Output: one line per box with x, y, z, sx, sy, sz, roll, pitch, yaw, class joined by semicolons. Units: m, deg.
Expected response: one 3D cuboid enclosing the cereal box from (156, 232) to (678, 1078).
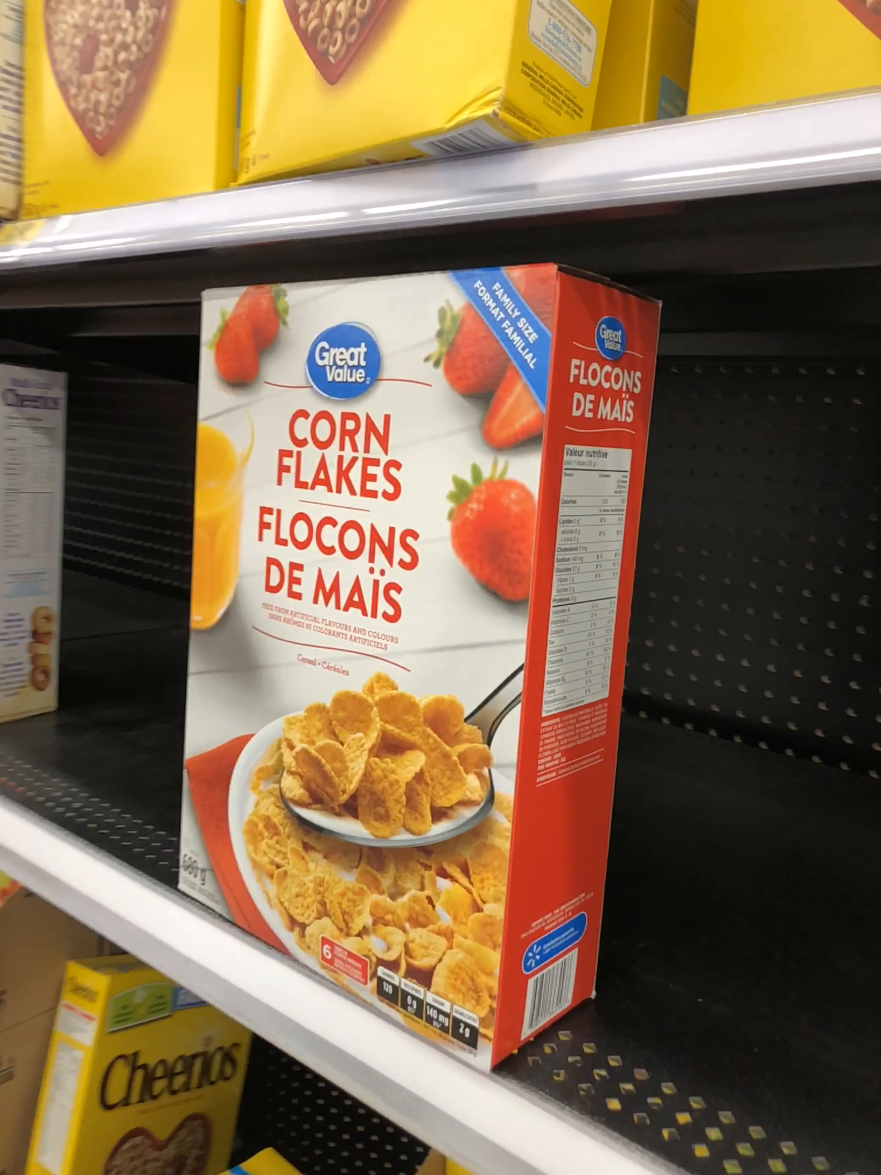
-0.029;0.014;0.480;0.240;0.329;0.090;11;11;40;cereal box
